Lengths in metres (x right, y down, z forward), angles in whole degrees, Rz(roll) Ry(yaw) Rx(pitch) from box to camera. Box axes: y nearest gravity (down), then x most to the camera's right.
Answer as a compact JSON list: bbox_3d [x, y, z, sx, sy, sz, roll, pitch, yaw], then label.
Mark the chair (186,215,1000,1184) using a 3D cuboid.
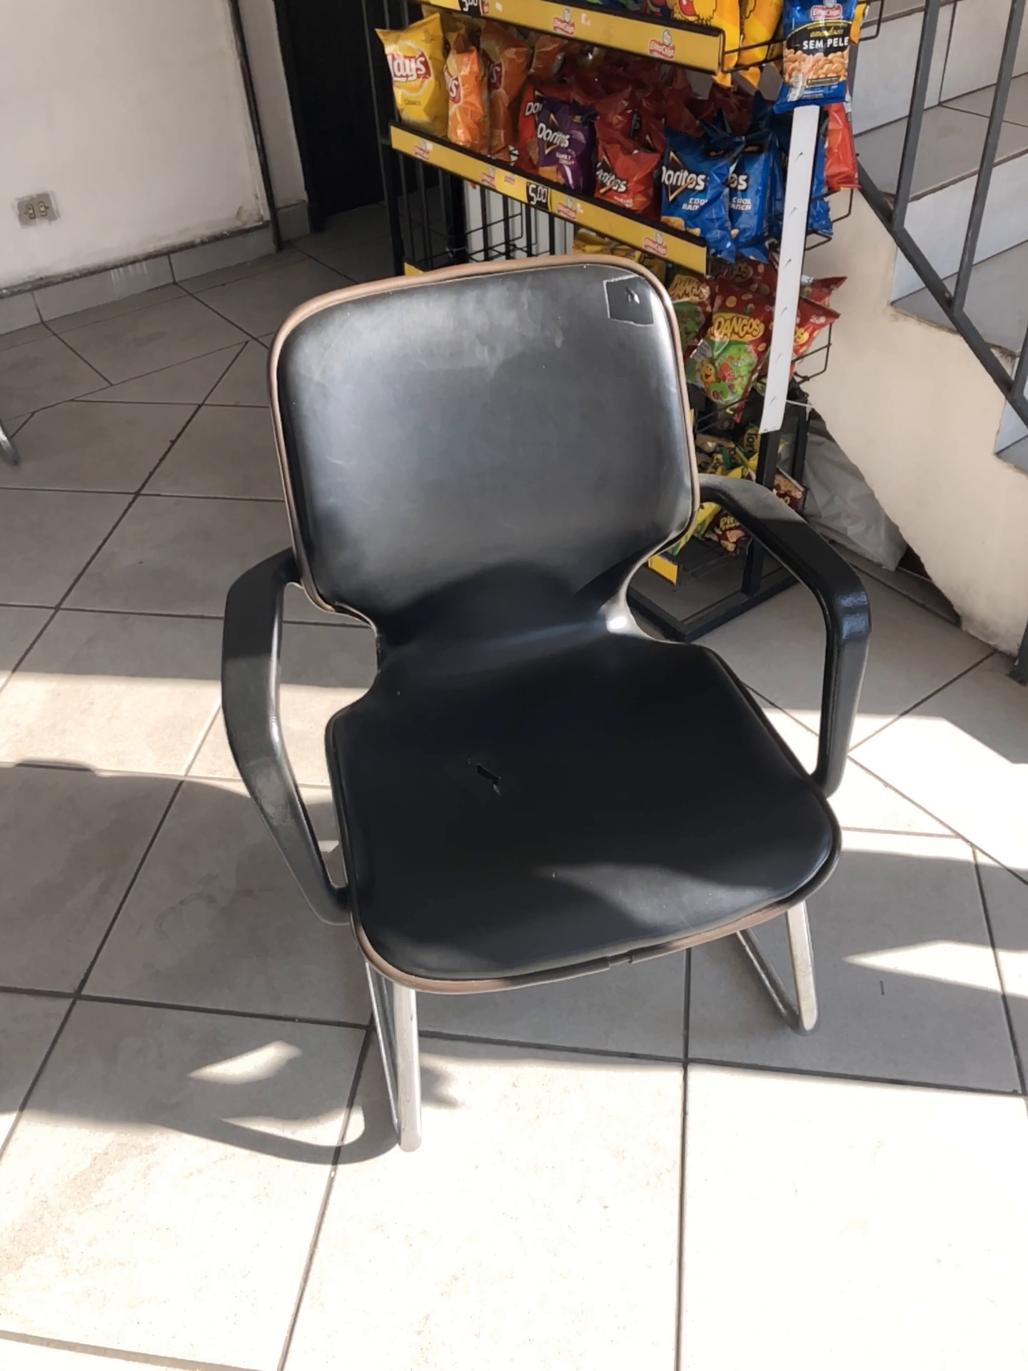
[{"bbox_3d":[0.032,0.017,1.291,0.580,0.824,0.584,-12,42,-10],"label":"chair"}]
